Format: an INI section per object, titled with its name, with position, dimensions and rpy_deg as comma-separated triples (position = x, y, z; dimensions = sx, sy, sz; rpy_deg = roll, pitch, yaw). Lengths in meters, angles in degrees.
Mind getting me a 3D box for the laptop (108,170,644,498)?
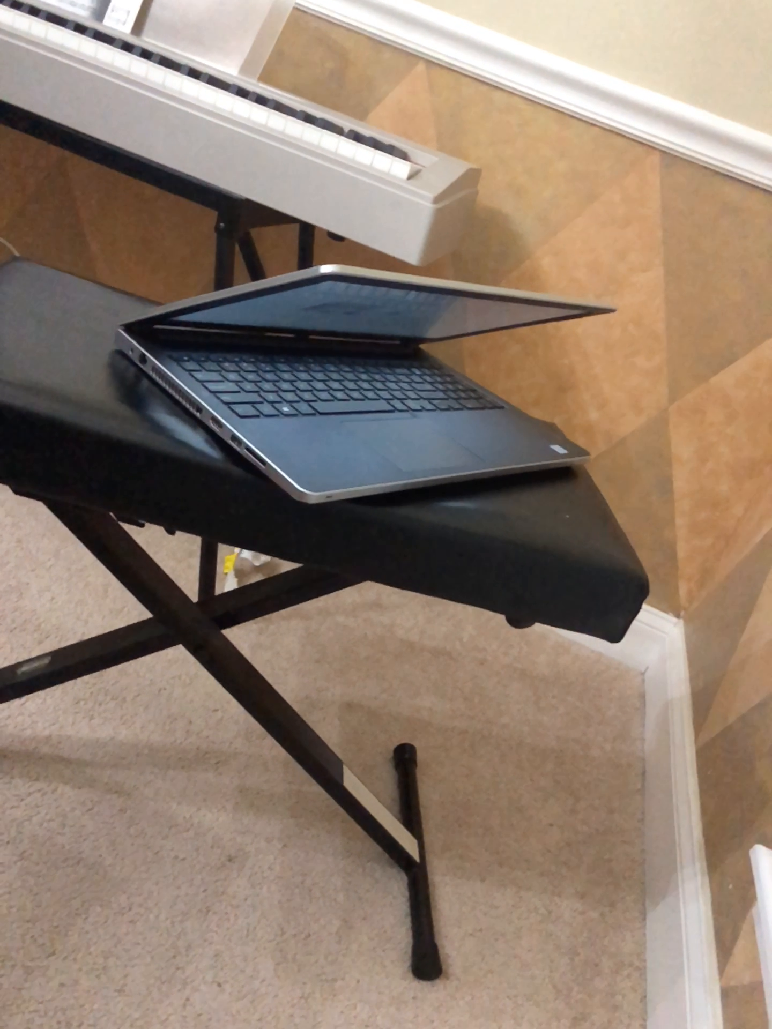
[laptop]
position = 0.005, -0.159, 0.744
dimensions = 0.377, 0.132, 0.256
rpy_deg = -11, 41, -47
